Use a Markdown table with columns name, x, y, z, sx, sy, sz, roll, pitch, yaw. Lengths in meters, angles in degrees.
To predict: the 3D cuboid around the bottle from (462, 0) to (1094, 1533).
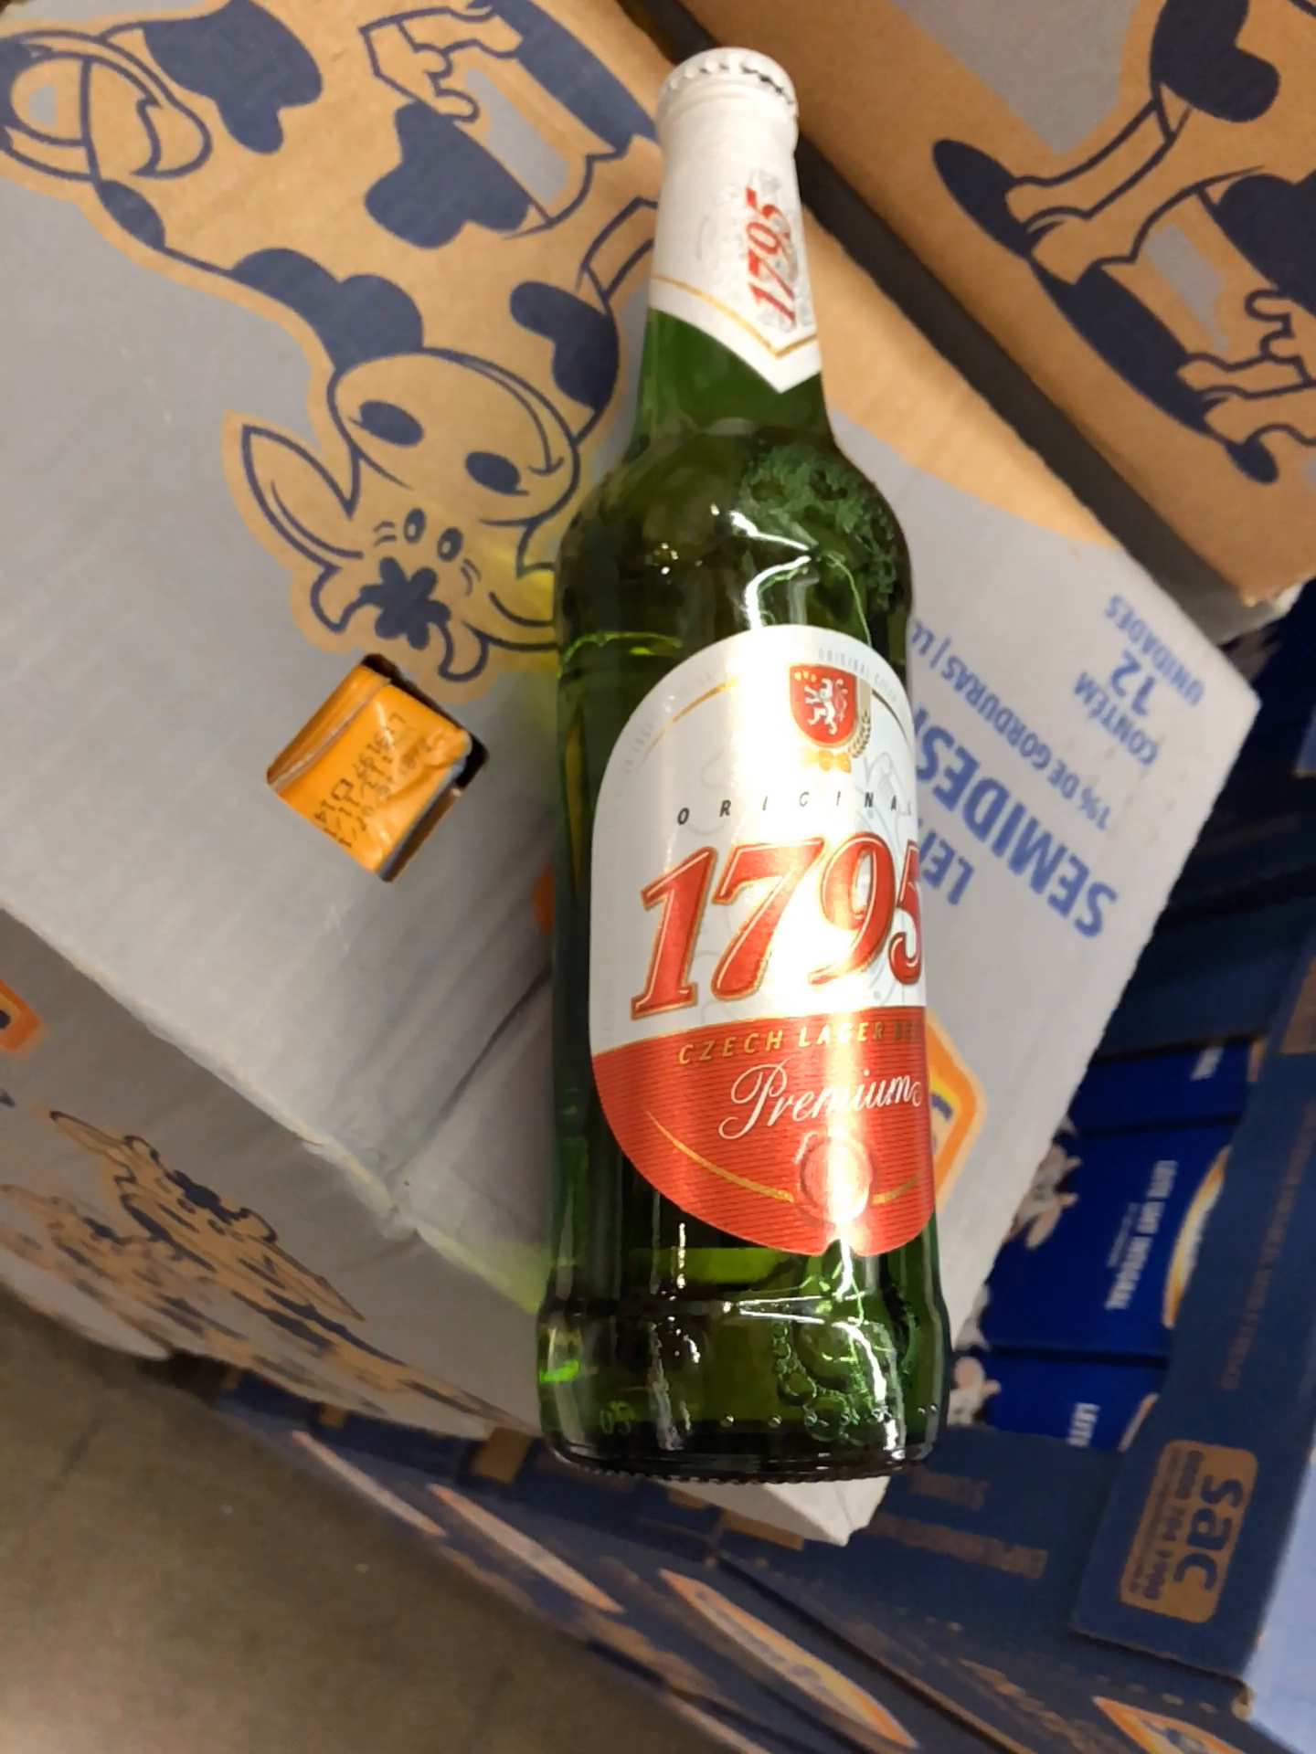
| name | x | y | z | sx | sy | sz | roll | pitch | yaw |
| --- | --- | --- | --- | --- | --- | --- | --- | --- | --- |
| bottle | 0.014 | -0.041 | 0.252 | 0.070 | 0.060 | 0.270 | 8 | 71 | -28 |
